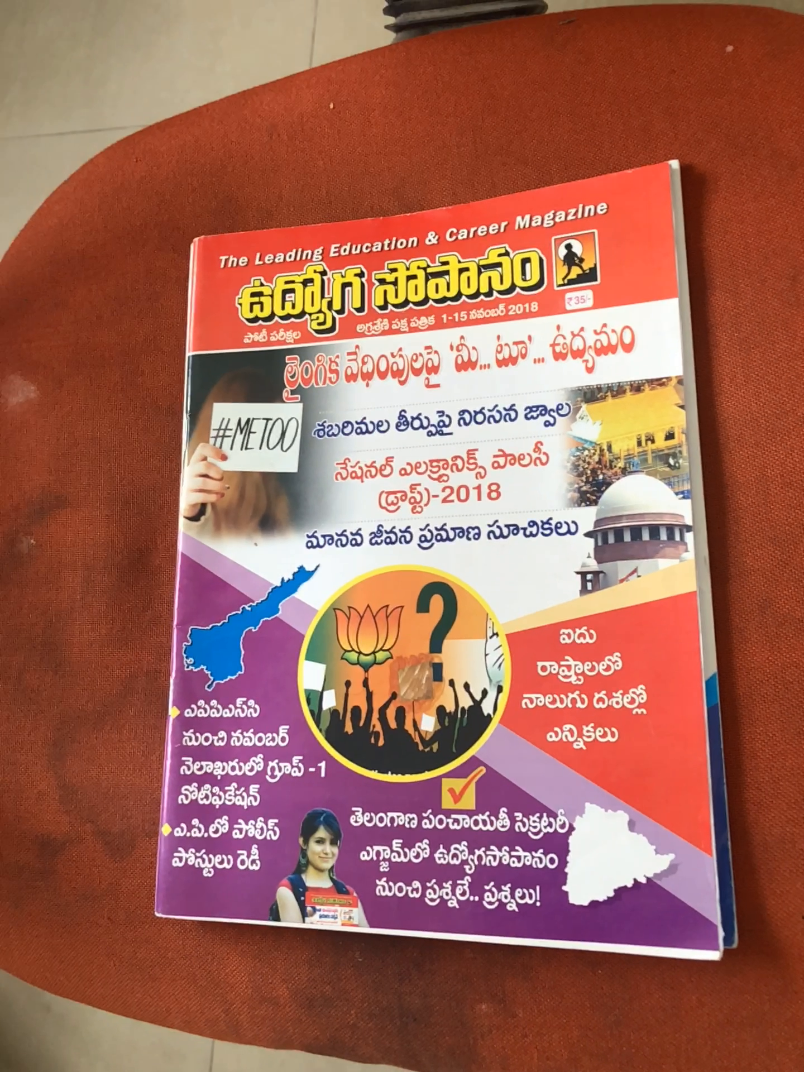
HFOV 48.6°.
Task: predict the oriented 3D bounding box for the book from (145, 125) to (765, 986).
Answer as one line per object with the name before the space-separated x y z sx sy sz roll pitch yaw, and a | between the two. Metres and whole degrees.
book | 0.012 0.002 0.351 0.217 0.040 0.295 -4 77 18
